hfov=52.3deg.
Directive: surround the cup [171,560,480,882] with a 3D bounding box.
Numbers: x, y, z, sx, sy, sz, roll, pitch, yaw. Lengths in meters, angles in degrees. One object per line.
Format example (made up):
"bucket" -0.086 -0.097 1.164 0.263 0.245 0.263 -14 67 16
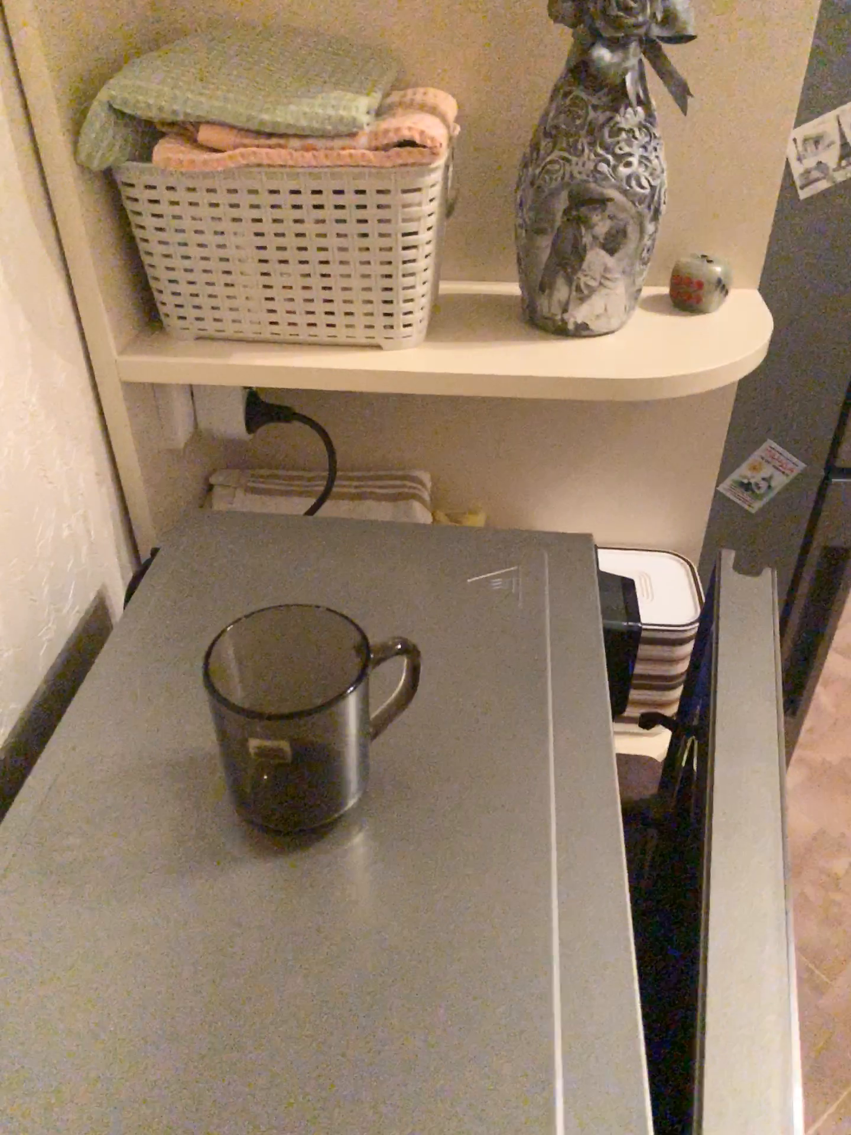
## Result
"cup" -0.045 0.066 0.399 0.110 0.079 0.081 -19 41 -23
